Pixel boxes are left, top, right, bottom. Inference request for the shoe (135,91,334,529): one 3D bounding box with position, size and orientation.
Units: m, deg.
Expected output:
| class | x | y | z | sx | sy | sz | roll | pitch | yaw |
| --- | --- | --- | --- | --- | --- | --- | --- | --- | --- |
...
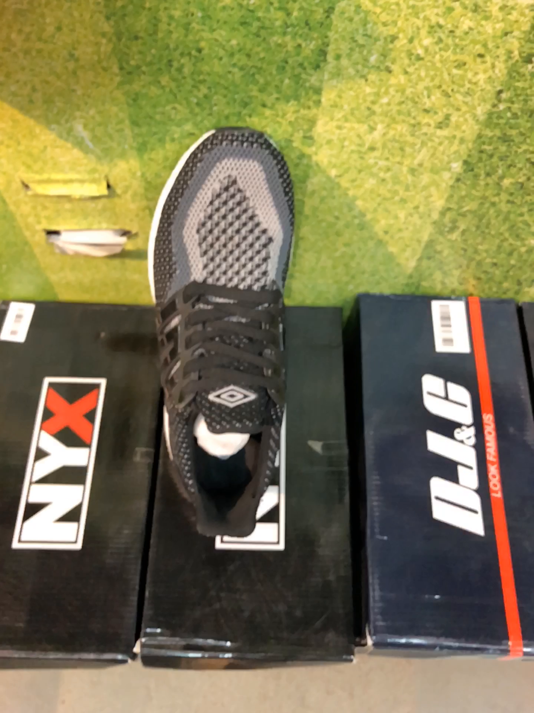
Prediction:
| class | x | y | z | sx | sy | sz | roll | pitch | yaw |
| --- | --- | --- | --- | --- | --- | --- | --- | --- | --- |
| shoe | -0.035 | -0.033 | 0.429 | 0.111 | 0.122 | 0.268 | -1 | 106 | -14 |
